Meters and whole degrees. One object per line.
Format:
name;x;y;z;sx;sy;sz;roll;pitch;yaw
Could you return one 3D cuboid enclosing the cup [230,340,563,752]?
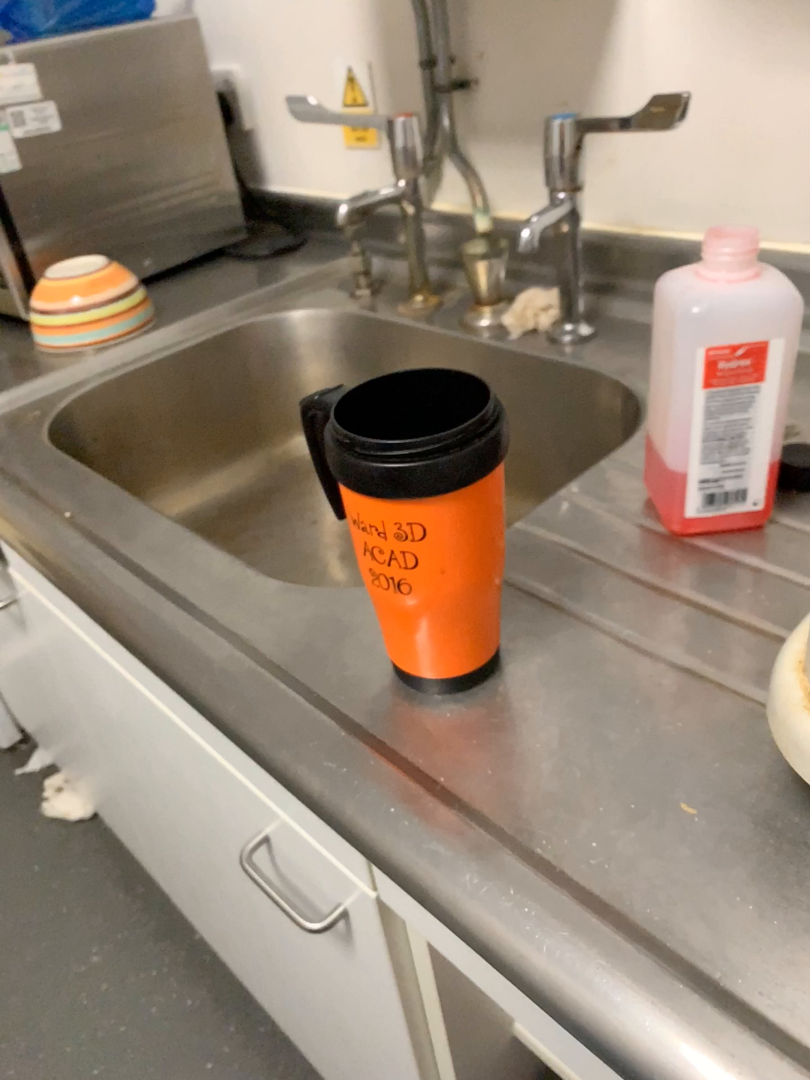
cup;0.001;-0.002;0.450;0.135;0.164;0.090;24;45;39
